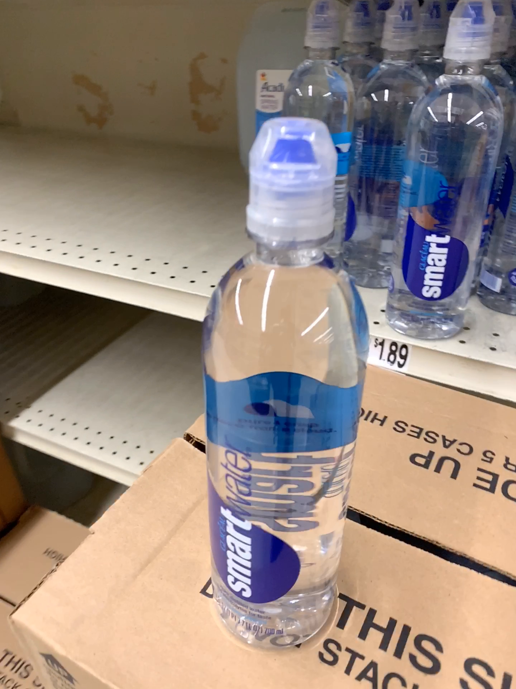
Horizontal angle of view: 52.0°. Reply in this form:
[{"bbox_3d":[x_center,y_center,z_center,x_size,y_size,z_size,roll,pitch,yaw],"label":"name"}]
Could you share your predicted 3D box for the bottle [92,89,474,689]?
[{"bbox_3d":[0.014,0.030,0.240,0.090,0.249,0.090,-1,34,1],"label":"bottle"}]
